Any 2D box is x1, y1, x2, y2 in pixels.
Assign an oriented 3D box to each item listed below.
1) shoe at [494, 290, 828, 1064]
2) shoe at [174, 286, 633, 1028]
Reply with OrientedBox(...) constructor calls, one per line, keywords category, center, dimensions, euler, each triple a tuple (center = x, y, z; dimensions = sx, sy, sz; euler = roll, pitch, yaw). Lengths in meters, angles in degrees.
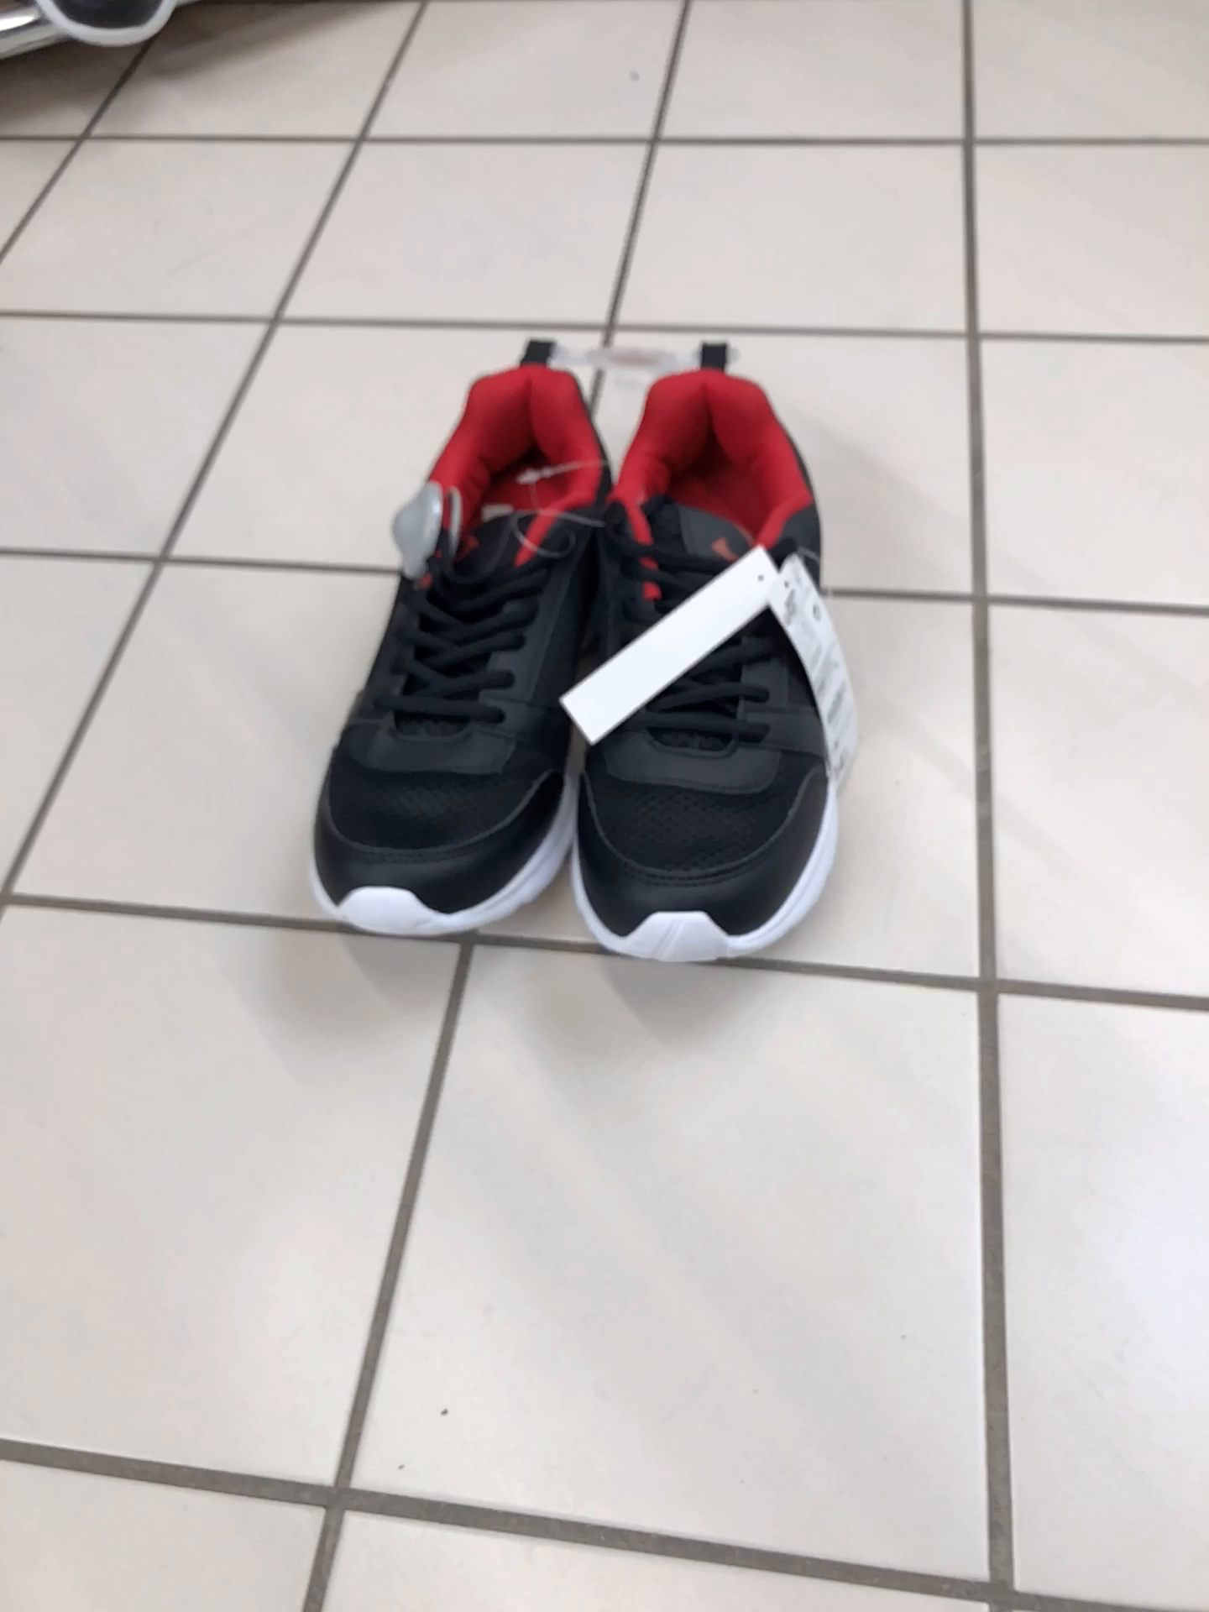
OrientedBox(category="shoe", center=(0.036, -0.063, 0.541), dimensions=(0.100, 0.129, 0.296), euler=(2, 54, 7))
OrientedBox(category="shoe", center=(-0.061, -0.072, 0.553), dimensions=(0.100, 0.129, 0.286), euler=(4, 54, 9))
